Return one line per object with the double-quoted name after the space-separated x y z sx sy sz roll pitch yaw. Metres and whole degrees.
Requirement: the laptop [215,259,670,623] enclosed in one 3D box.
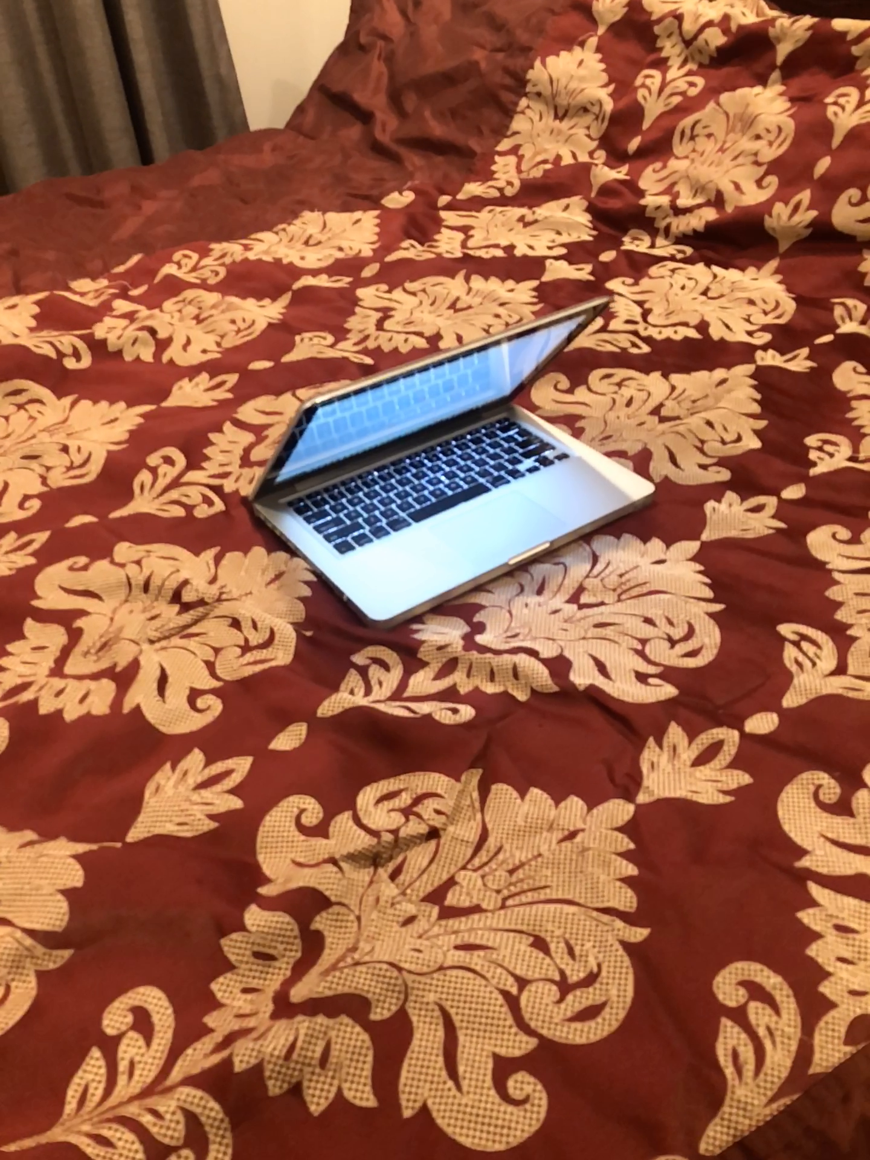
0.011 -0.139 0.828 0.312 0.156 0.213 -25 43 -27 "laptop"
